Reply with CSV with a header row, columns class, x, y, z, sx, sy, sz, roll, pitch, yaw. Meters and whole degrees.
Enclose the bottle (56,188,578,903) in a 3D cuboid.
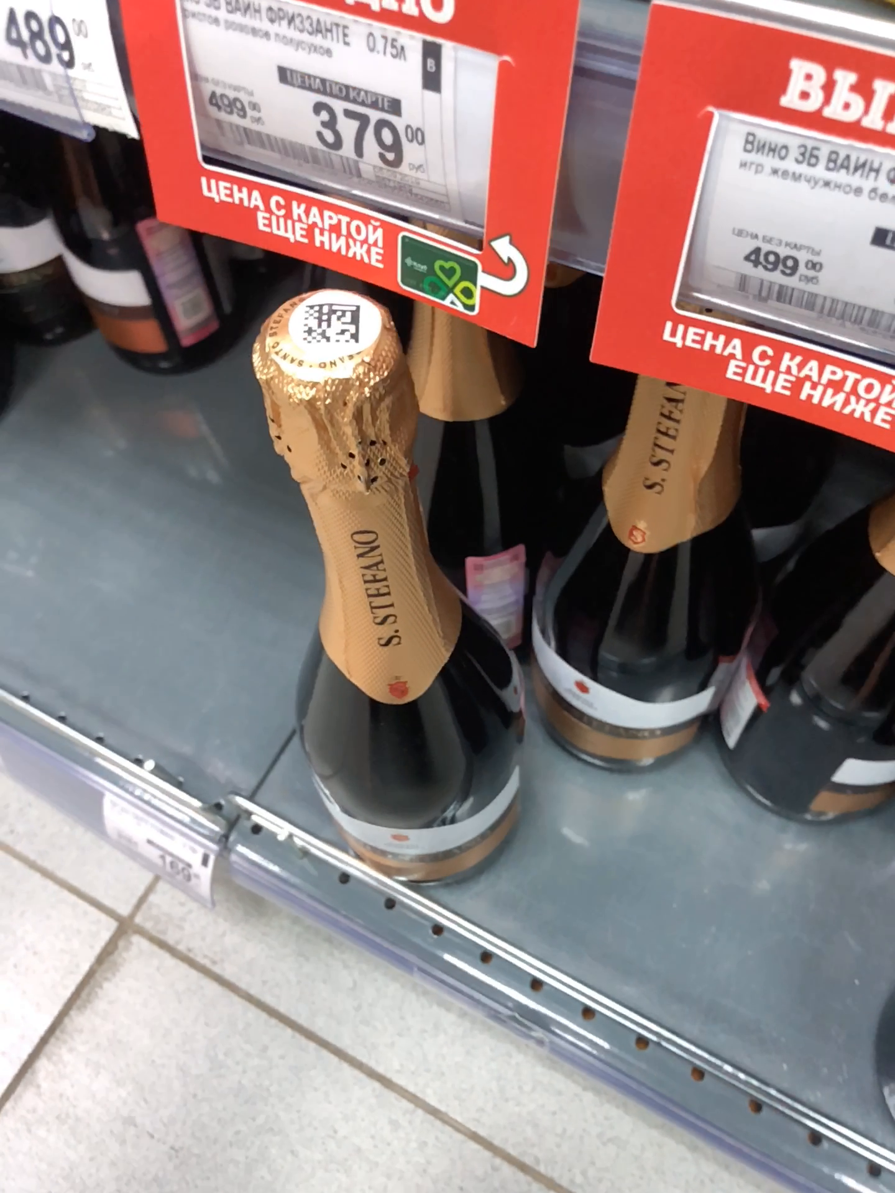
class,x,y,z,sx,sy,sz,roll,pitch,yaw
bottle,-0.016,0.019,0.342,0.100,0.299,0.090,3,59,5
